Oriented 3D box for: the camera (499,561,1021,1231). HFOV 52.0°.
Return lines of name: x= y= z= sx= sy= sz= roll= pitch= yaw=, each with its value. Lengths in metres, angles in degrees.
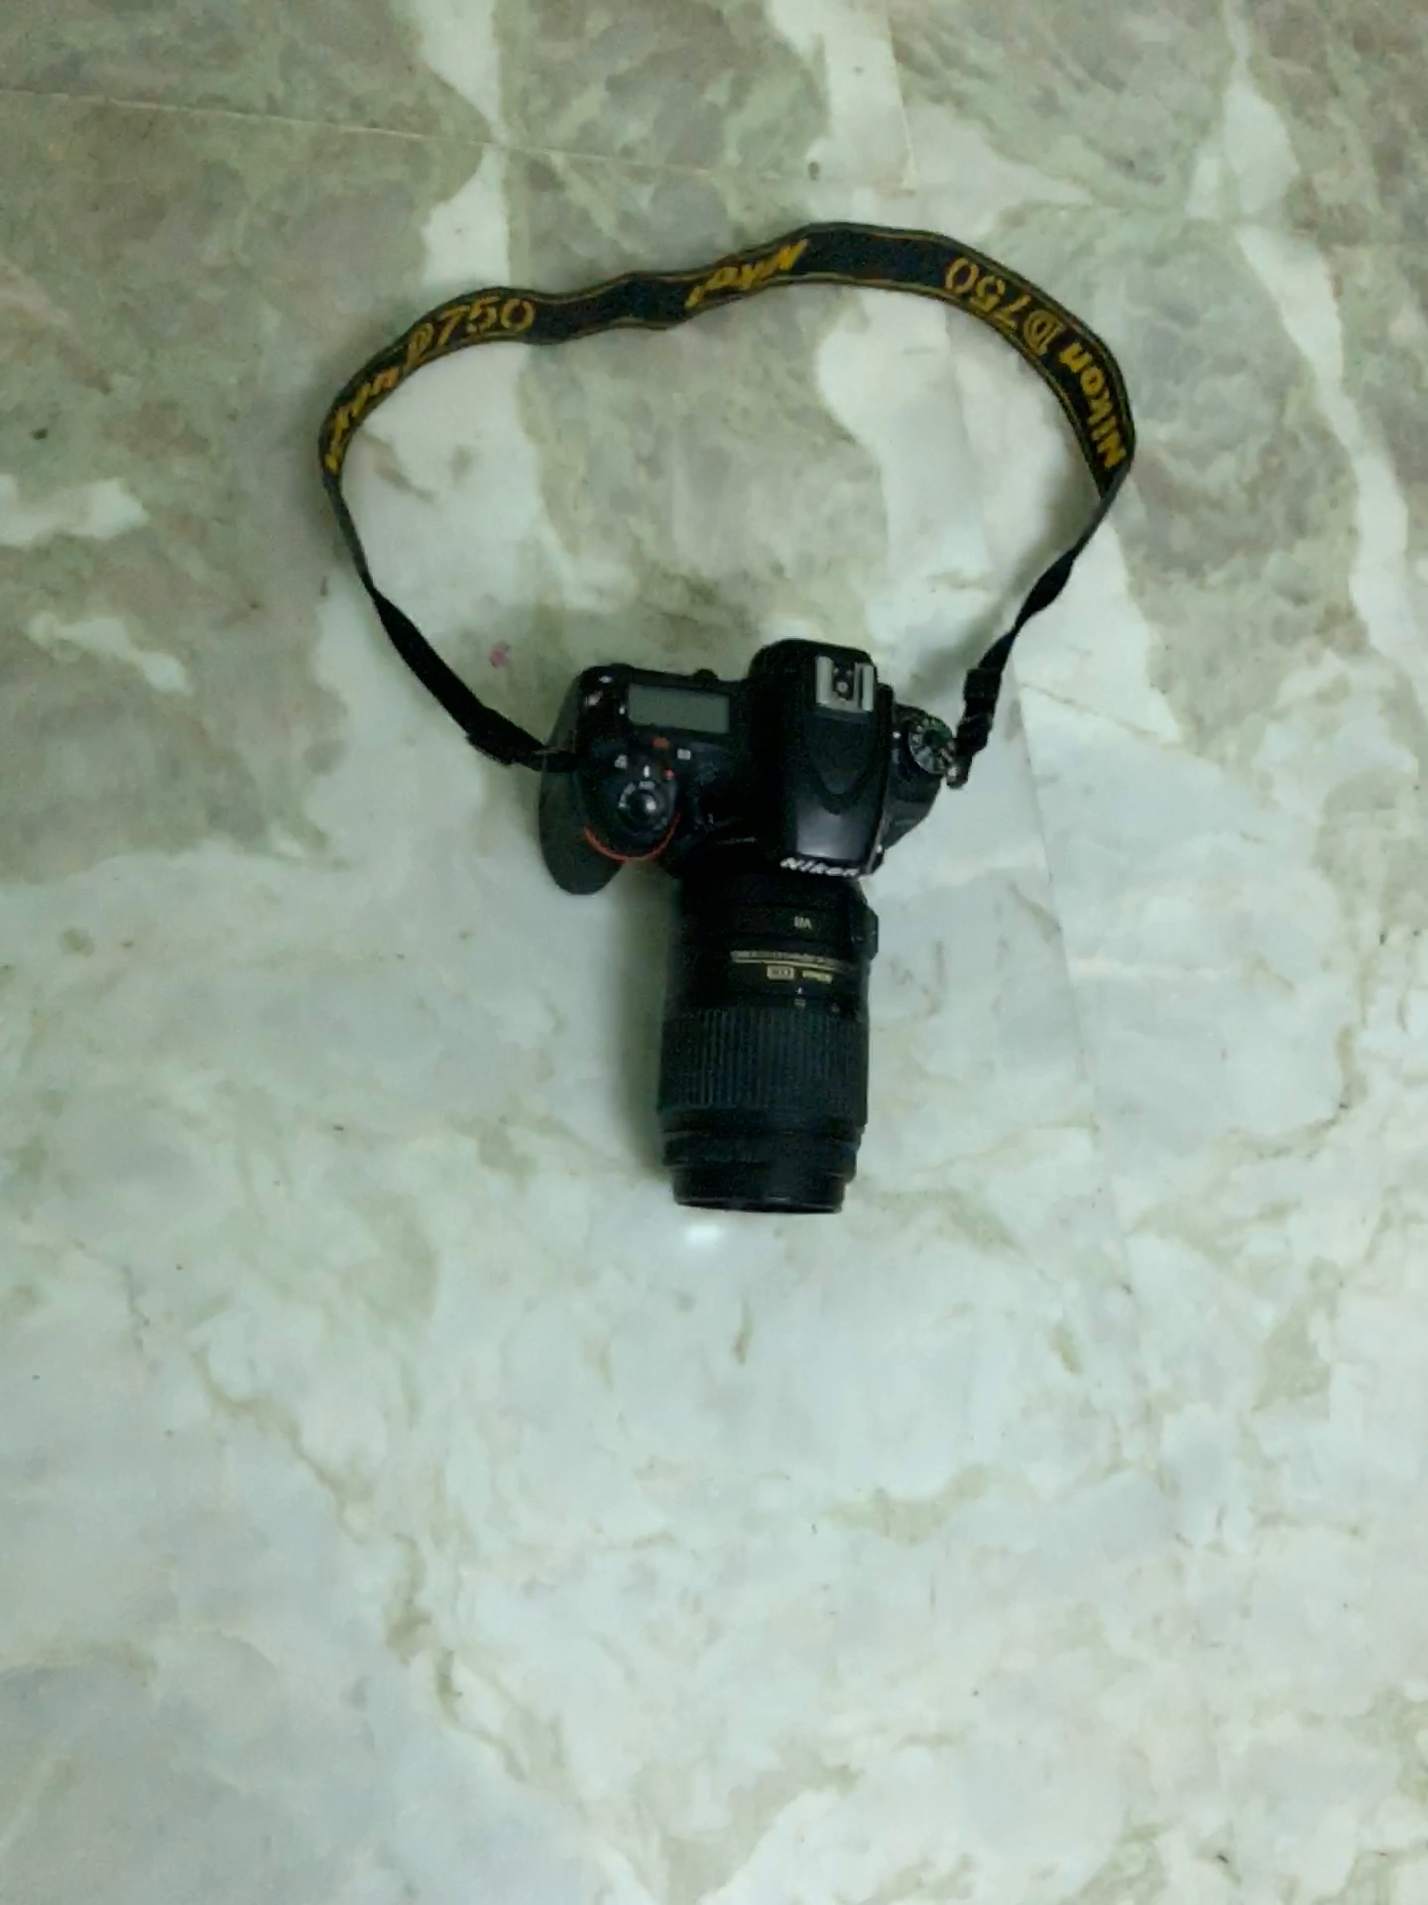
camera: x=0.012 y=-0.010 z=0.533 sx=0.150 sy=0.120 sz=0.200 roll=6 pitch=73 yaw=-15
